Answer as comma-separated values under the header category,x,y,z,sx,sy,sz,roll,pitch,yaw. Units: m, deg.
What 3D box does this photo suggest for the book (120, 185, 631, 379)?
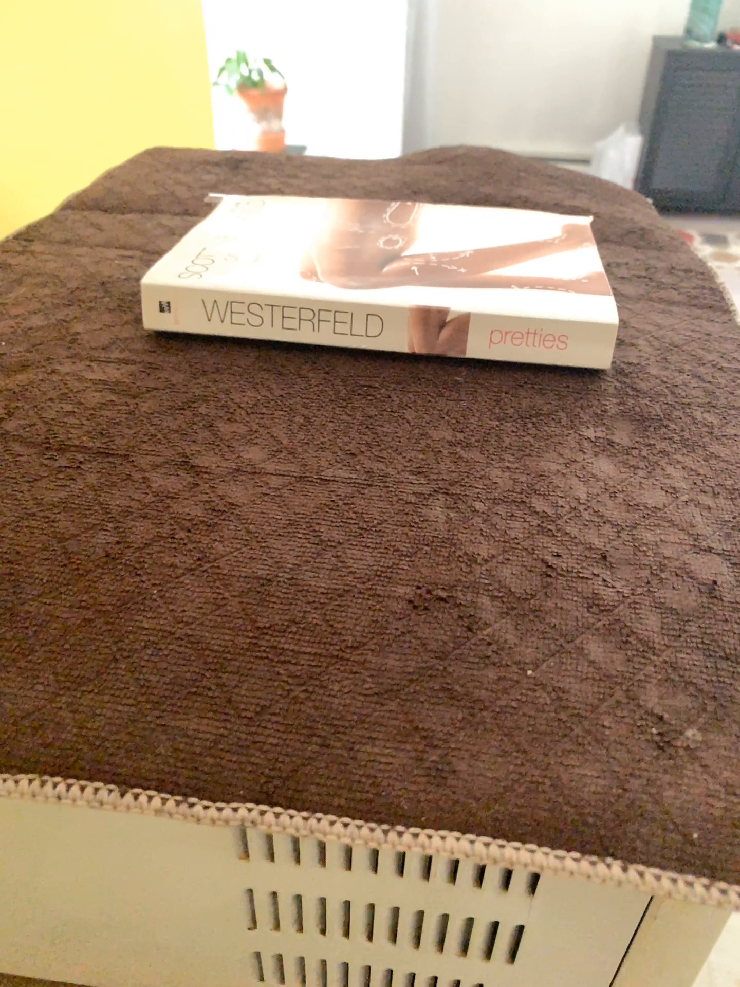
category,x,y,z,sx,sy,sz,roll,pitch,yaw
book,0.008,-0.117,0.398,0.220,0.030,0.151,6,36,5
